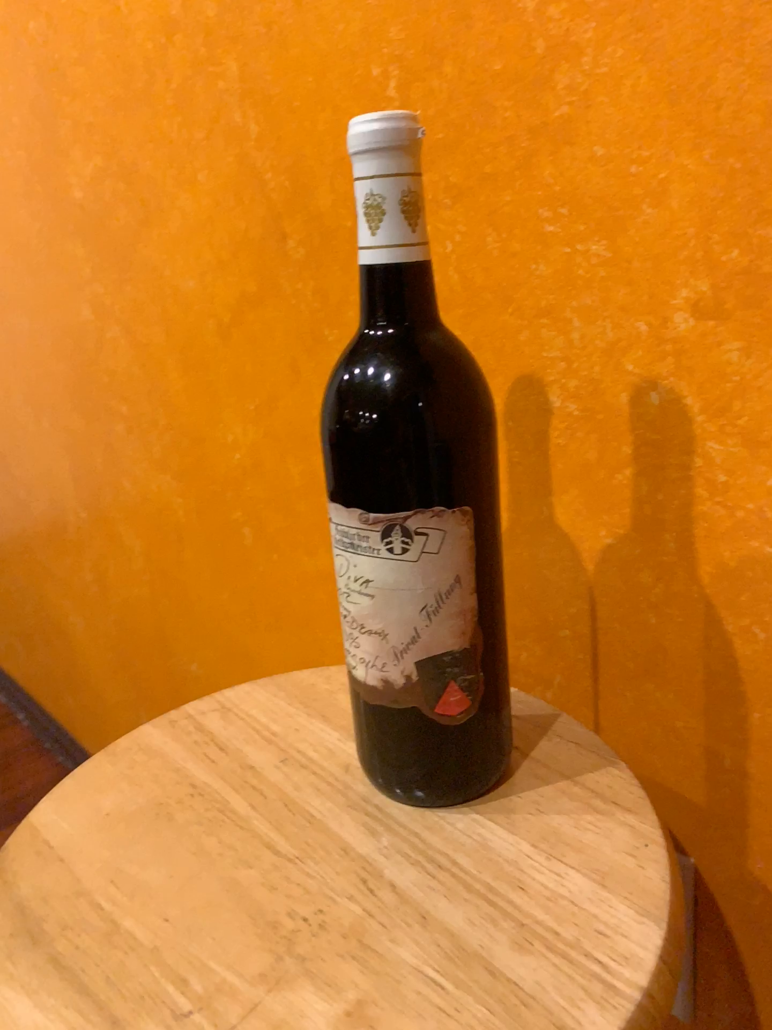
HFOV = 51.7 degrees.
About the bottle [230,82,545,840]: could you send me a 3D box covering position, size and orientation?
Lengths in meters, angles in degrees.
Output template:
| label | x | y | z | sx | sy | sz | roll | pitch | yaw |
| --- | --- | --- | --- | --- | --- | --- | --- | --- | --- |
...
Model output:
| label | x | y | z | sx | sy | sz | roll | pitch | yaw |
| --- | --- | --- | --- | --- | --- | --- | --- | --- | --- |
| bottle | 0.008 | -0.016 | 0.343 | 0.070 | 0.289 | 0.080 | -21 | 23 | -36 |
